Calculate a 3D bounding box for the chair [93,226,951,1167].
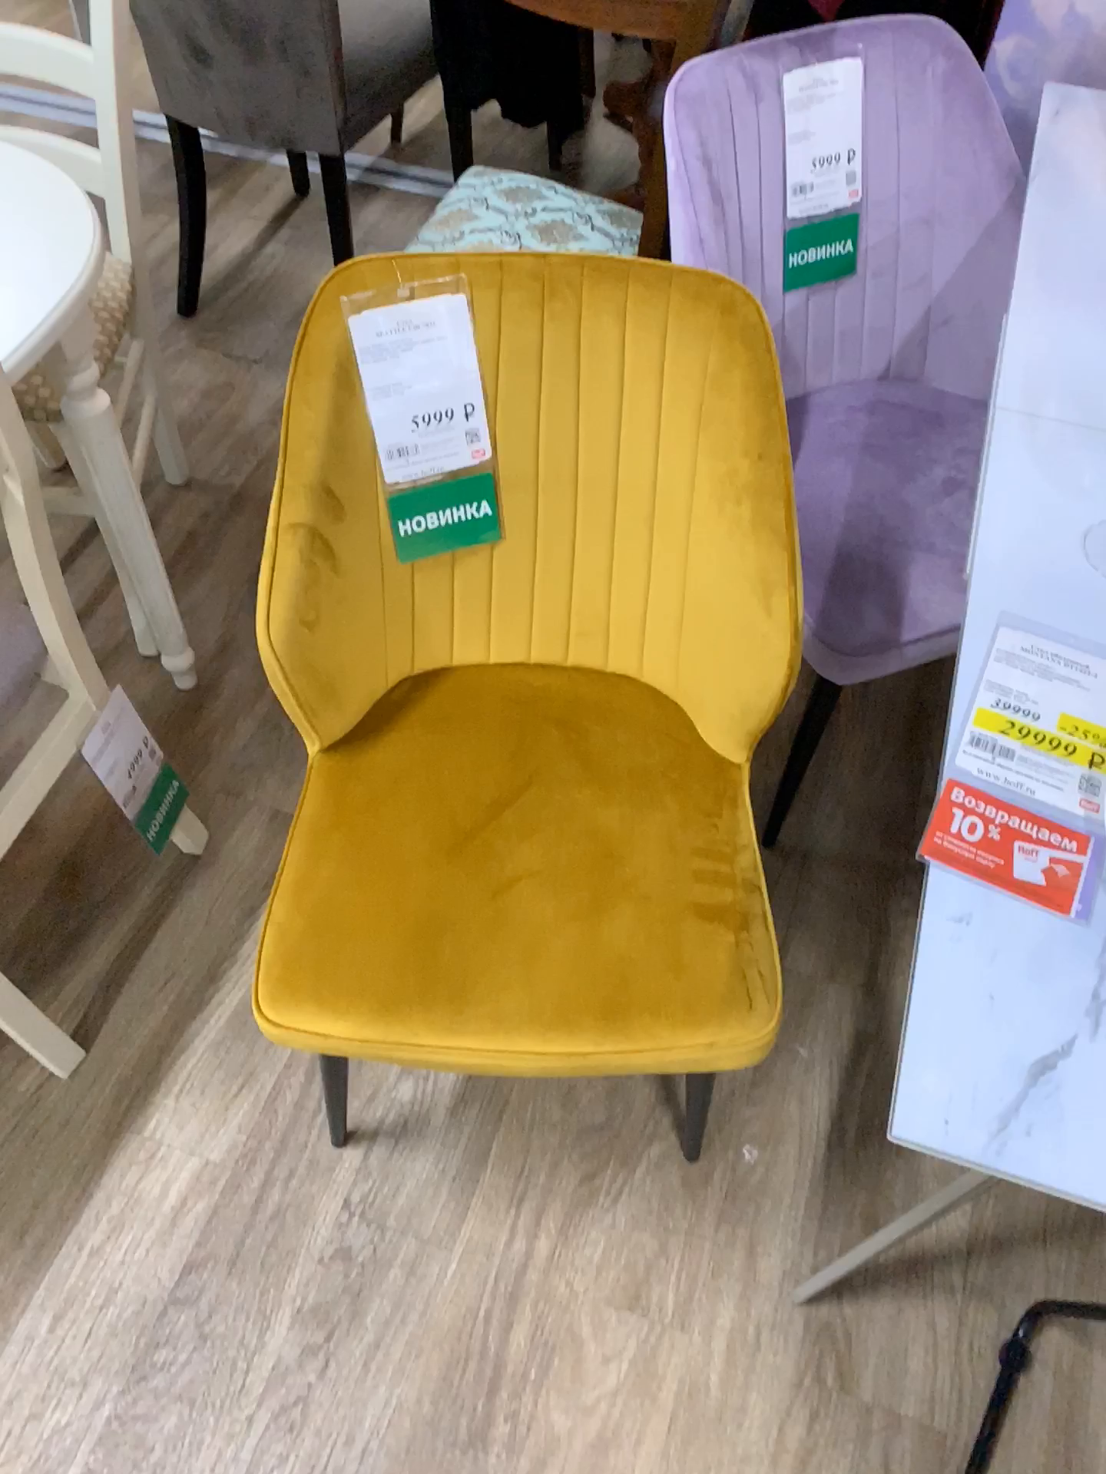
[{"bbox_3d":[-0.028,0.044,1.163,0.500,0.886,0.502,3,53,-1],"label":"chair"}]
